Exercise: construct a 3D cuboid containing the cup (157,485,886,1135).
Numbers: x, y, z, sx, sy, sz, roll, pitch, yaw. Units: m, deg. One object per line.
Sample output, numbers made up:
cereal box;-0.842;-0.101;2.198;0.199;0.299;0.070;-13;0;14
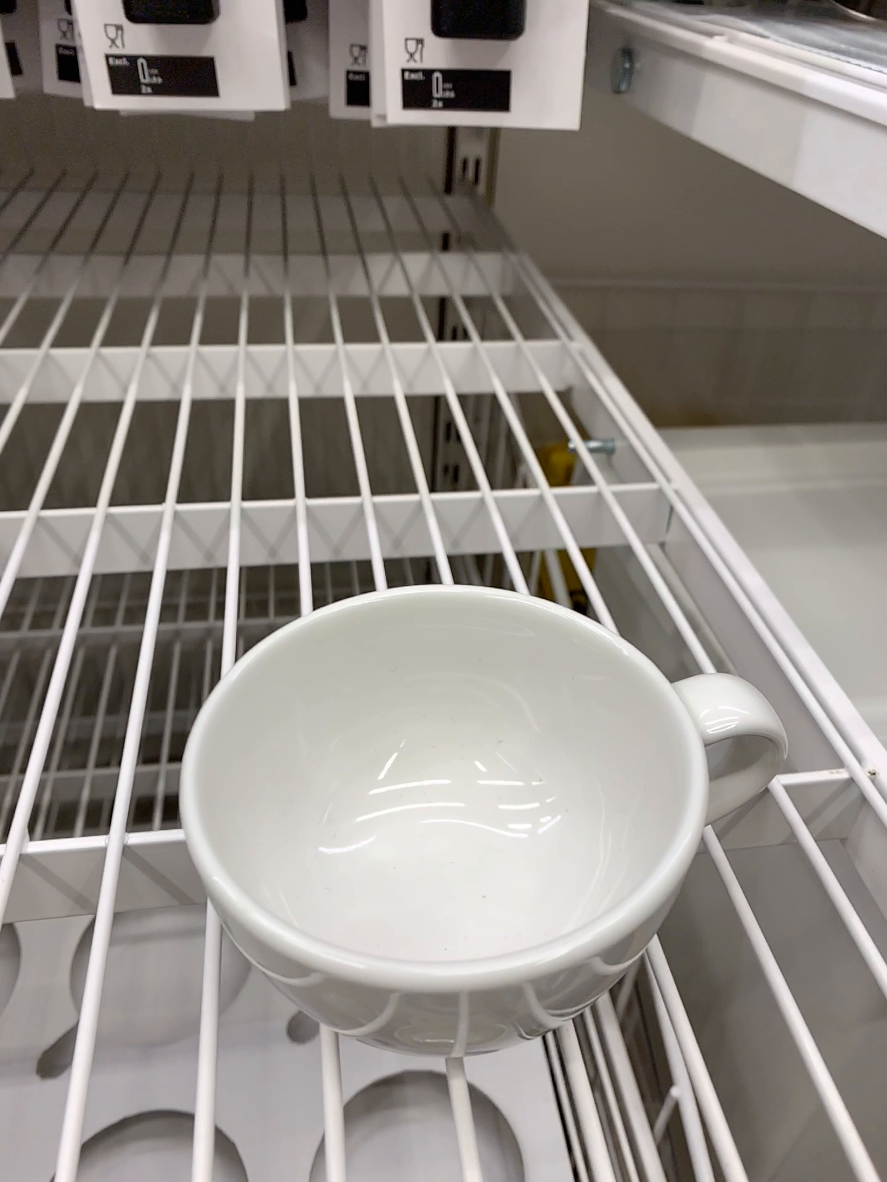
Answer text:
cup;0.012;0.025;0.168;0.116;0.036;0.097;-7;37;-14
